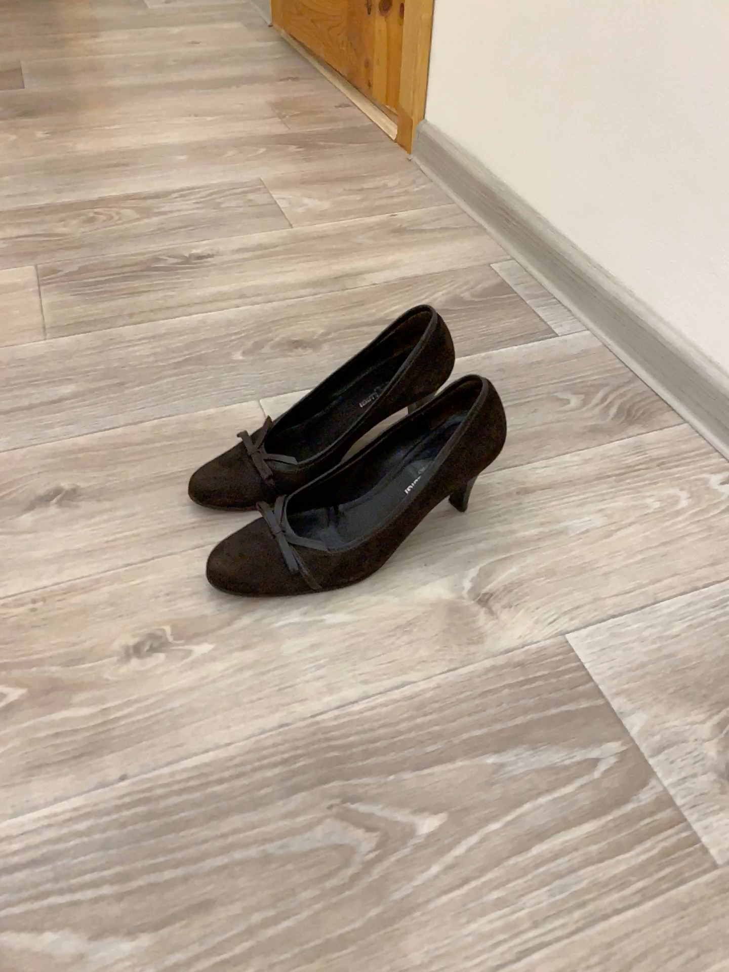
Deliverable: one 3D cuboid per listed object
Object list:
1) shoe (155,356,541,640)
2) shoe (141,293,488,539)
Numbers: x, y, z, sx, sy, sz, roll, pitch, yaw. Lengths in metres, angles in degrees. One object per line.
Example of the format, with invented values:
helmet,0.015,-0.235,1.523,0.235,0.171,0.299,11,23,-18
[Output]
shoe,-0.008,0.003,0.557,0.260,0.109,0.080,-20,50,-20
shoe,-0.036,-0.063,0.621,0.260,0.109,0.080,-20,50,-20
